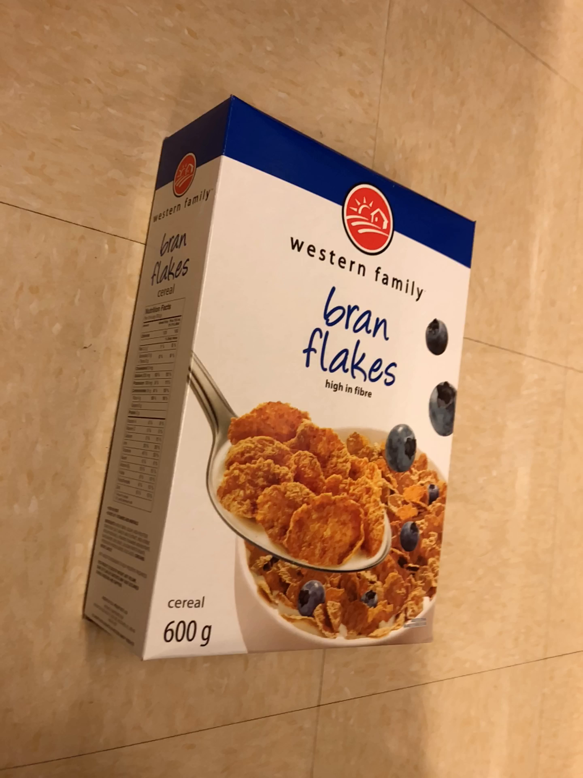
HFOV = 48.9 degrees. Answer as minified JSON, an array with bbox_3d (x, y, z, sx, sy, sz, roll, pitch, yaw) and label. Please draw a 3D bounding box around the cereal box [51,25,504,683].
[{"bbox_3d":[0.007,-0.004,0.387,0.221,0.090,0.300,13,83,-36],"label":"cereal box"}]
